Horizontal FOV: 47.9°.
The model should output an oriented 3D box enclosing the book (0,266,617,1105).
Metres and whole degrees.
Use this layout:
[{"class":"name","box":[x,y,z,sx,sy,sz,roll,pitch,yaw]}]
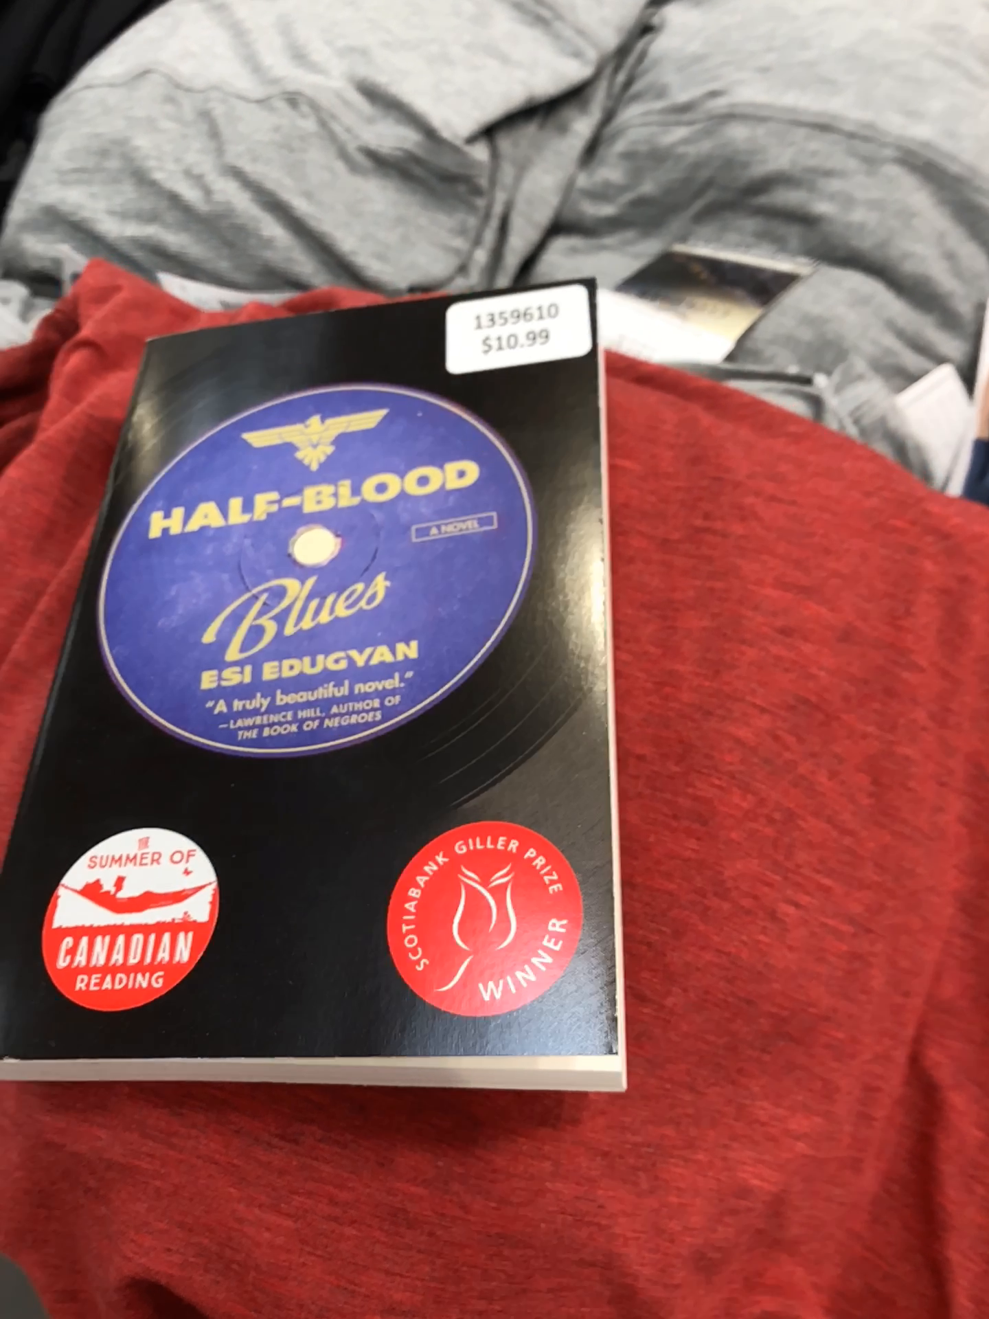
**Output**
[{"class":"book","box":[-0.044,-0.011,0.277,0.146,0.025,0.220,-1,58,7]}]
